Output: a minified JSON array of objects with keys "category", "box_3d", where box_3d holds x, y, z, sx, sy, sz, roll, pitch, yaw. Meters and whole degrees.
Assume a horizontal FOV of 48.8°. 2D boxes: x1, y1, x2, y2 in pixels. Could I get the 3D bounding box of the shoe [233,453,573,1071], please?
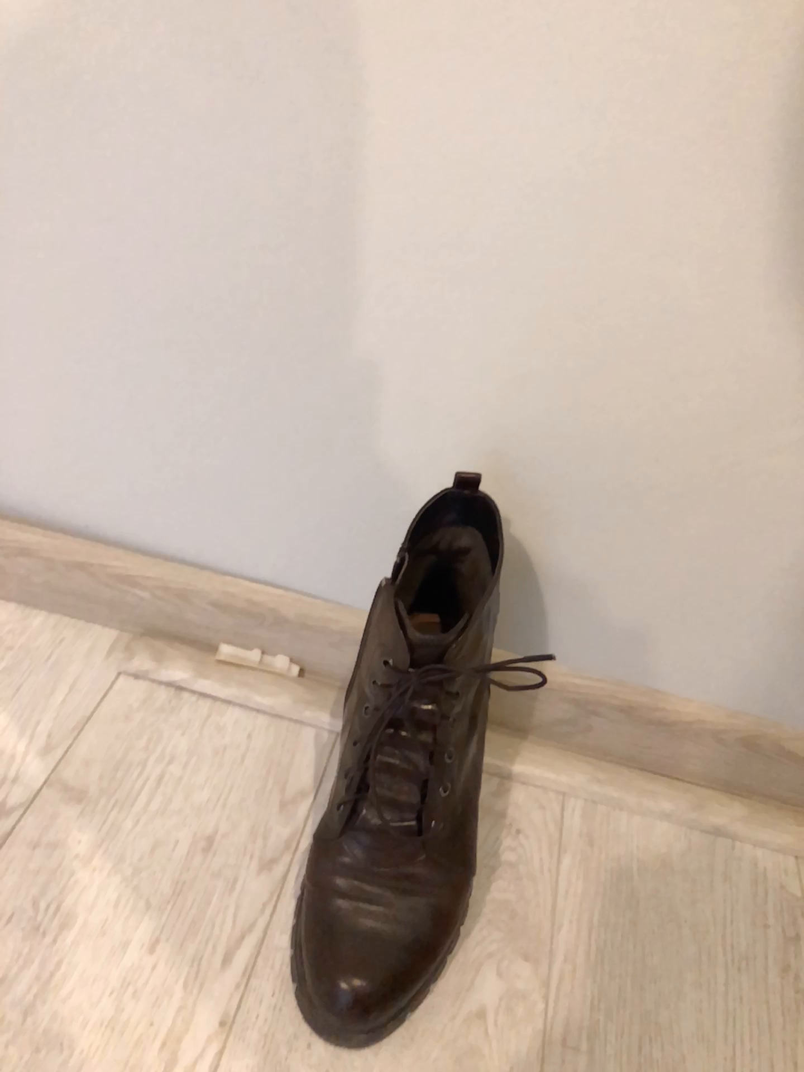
[{"category":"shoe","box_3d":[0.008,0.121,0.469,0.100,0.179,0.262,12,54,3]}]
